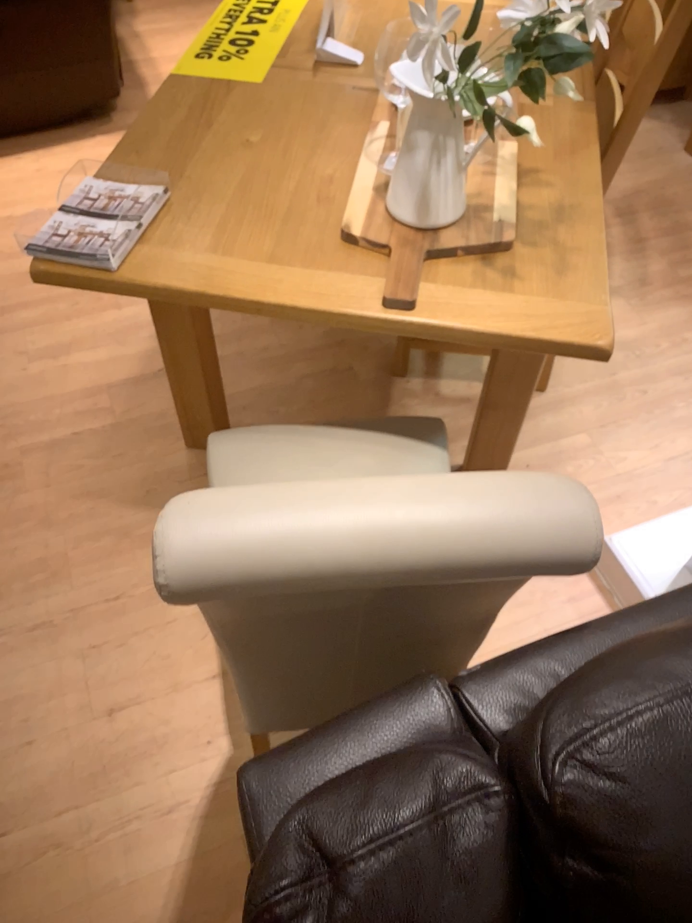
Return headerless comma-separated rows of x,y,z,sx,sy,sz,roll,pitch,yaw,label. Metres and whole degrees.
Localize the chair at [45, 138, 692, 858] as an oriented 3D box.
-0.006,0.137,1.077,0.476,0.945,0.639,-3,52,-4,chair
